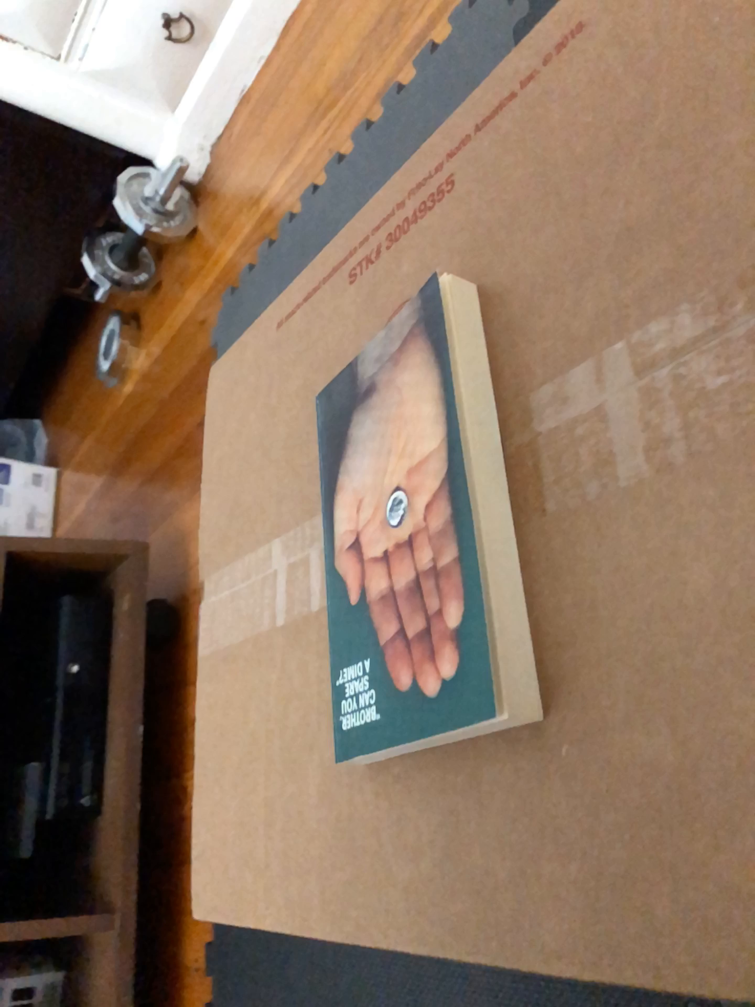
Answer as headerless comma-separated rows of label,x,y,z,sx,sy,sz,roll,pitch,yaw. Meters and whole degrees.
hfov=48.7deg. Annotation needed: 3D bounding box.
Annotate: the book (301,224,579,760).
book,0.012,0.000,0.332,0.120,0.020,0.180,-34,54,48
